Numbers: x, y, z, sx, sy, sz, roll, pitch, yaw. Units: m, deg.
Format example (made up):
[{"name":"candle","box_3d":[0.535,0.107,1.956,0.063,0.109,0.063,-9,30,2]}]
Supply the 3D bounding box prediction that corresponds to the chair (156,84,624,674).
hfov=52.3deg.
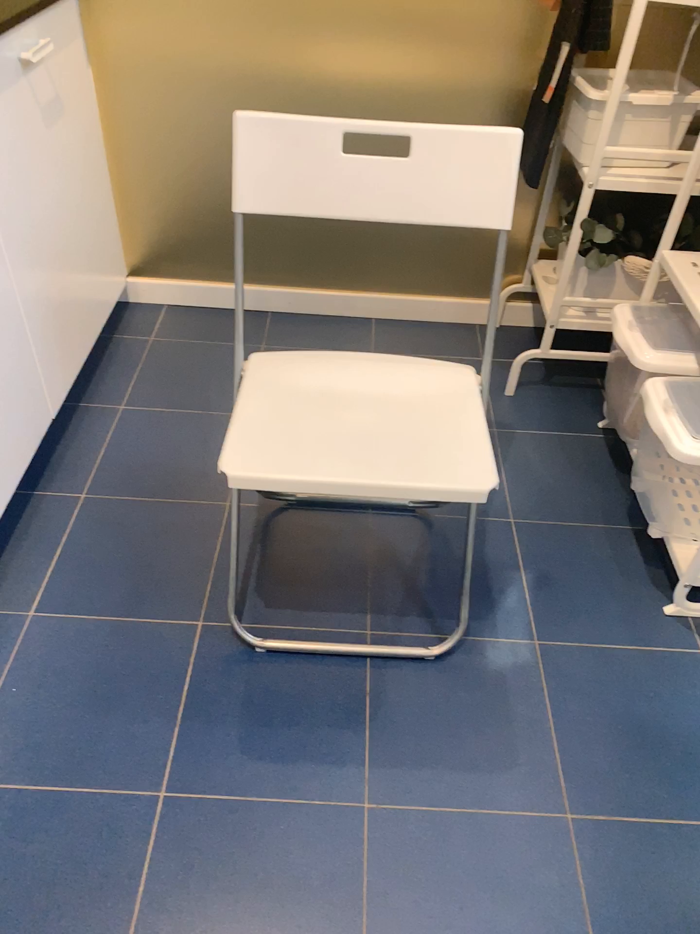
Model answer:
[{"name":"chair","box_3d":[0.030,-0.095,1.075,0.440,0.746,0.422,4,42,0]}]
